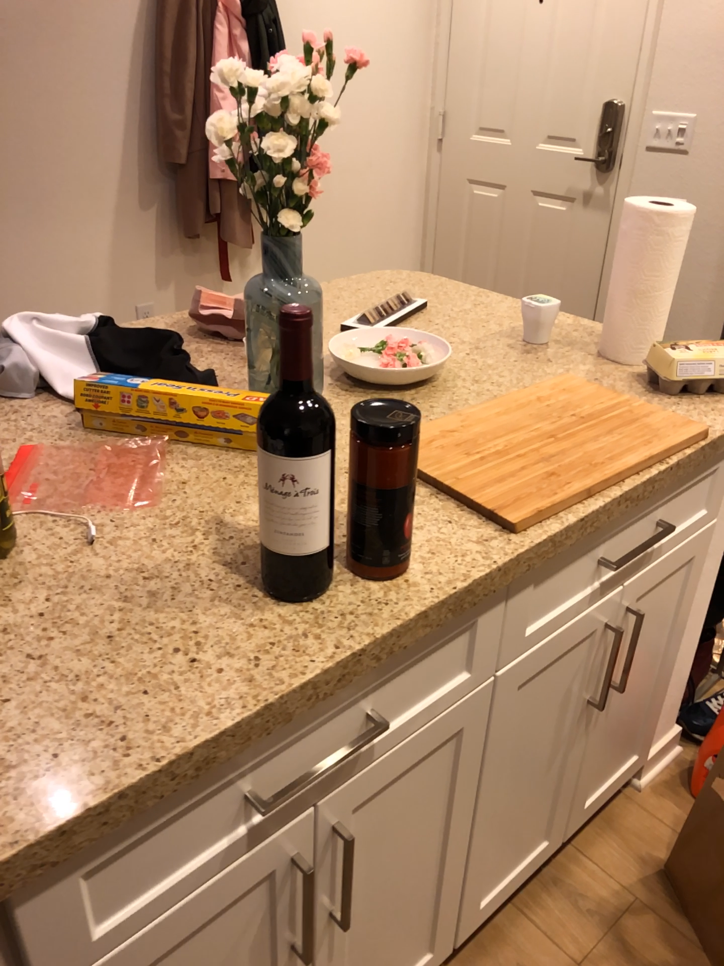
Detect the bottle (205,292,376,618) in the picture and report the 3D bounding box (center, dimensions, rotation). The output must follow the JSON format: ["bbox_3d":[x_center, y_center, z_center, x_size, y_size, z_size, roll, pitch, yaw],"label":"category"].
[{"bbox_3d":[-0.065,-0.027,0.777,0.110,0.278,0.111,1,28,-1],"label":"bottle"}]

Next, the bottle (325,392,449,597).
[{"bbox_3d":[0.025,0.011,0.852,0.090,0.179,0.090,1,28,-1],"label":"bottle"}]
